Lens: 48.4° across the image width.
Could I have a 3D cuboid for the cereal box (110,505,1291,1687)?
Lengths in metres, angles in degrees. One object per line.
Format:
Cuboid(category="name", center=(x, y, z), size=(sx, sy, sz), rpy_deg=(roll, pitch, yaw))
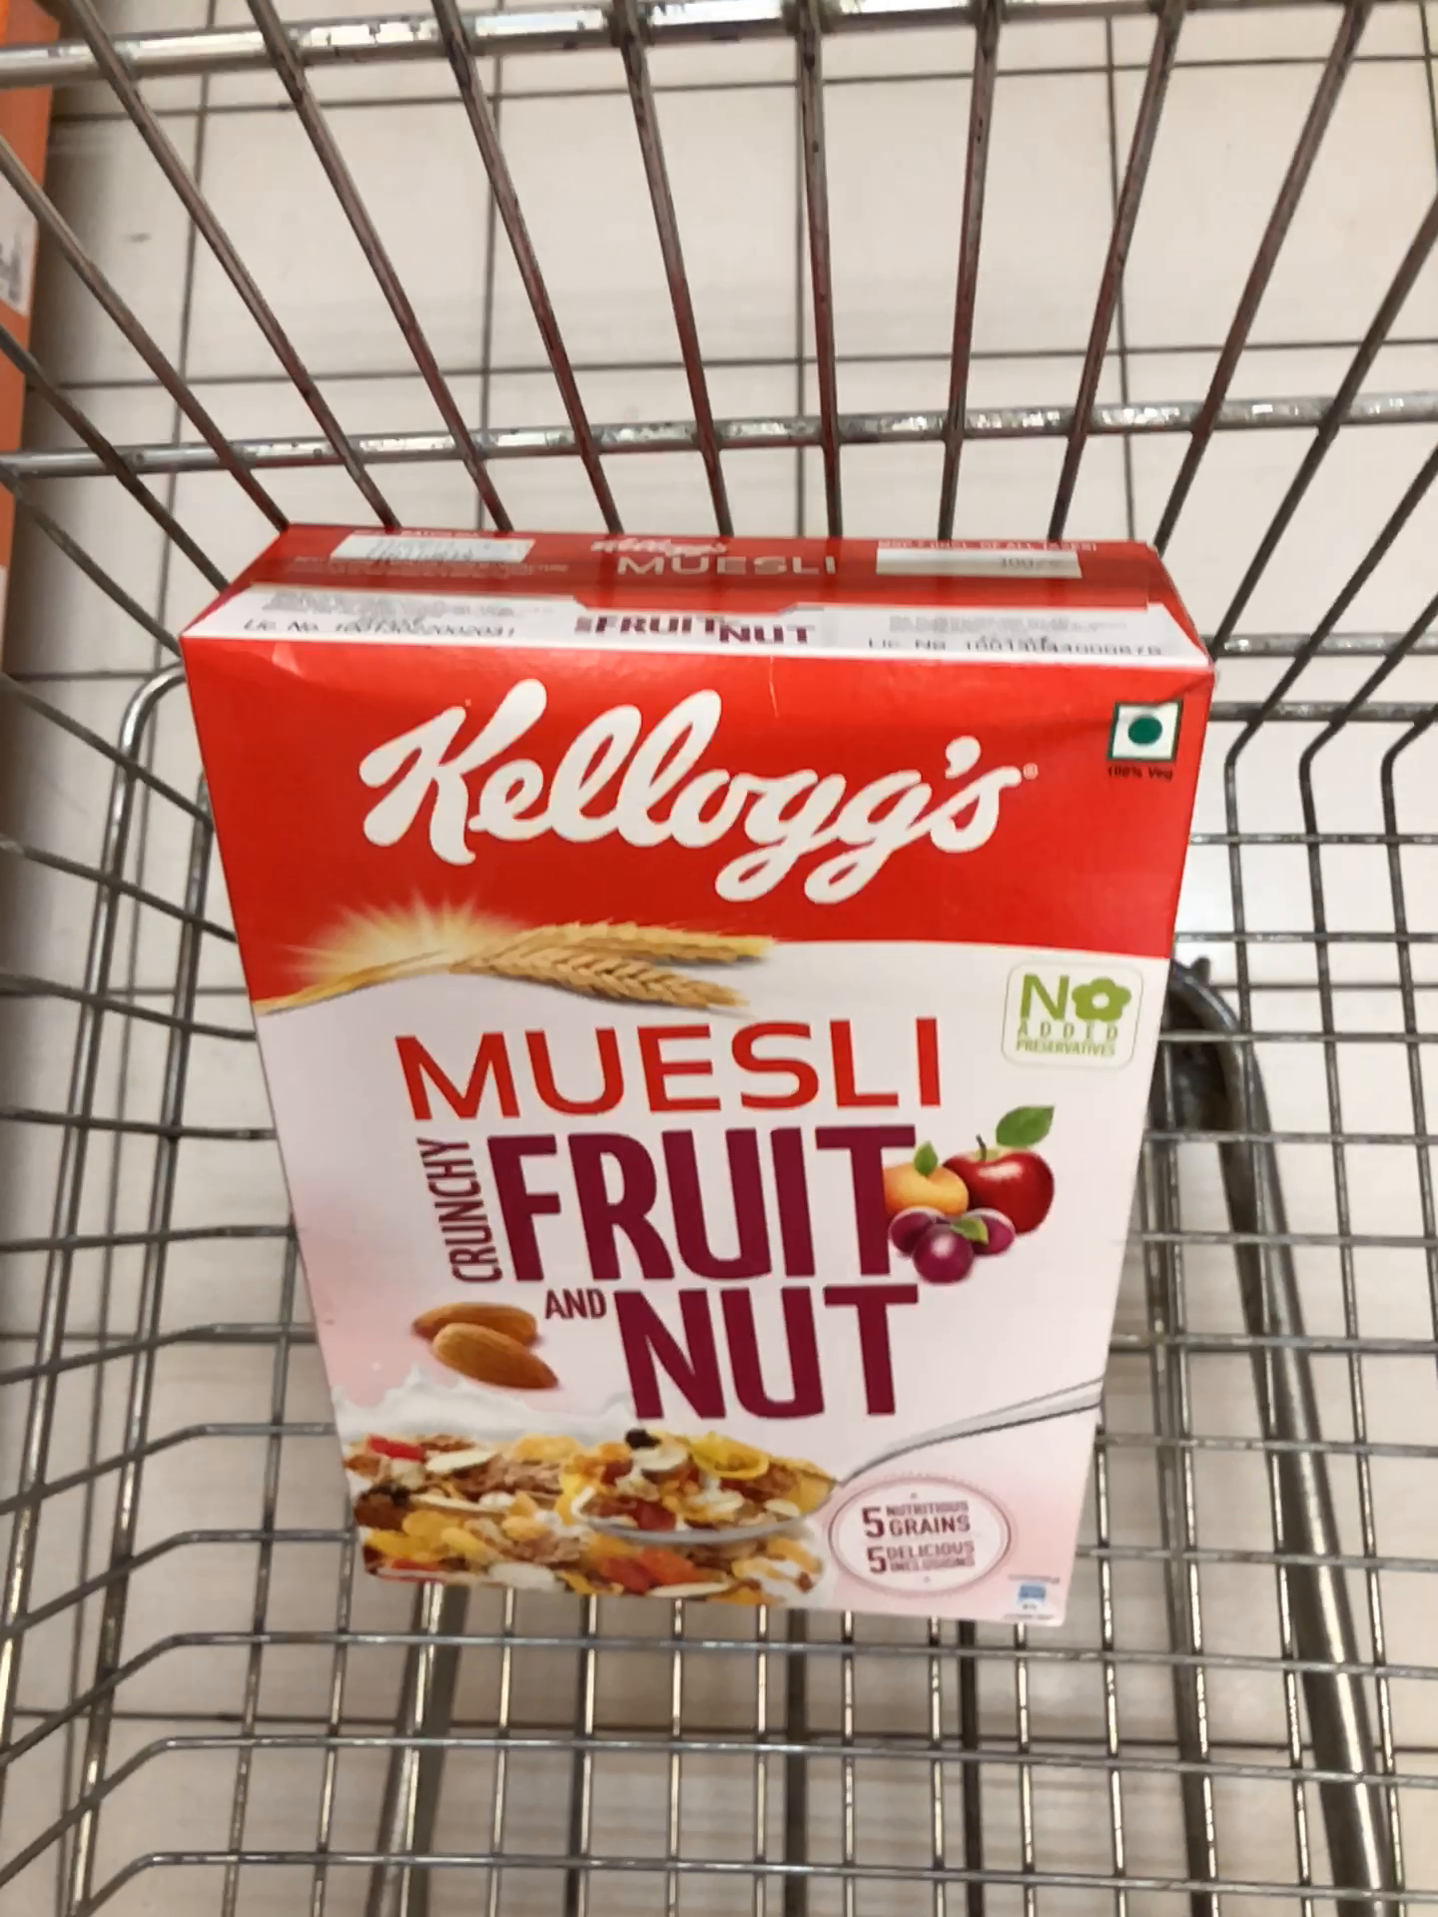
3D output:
Cuboid(category="cereal box", center=(-0.002, 0.045, 0.359), size=(0.190, 0.070, 0.269), rpy_deg=(3, 124, 5))
